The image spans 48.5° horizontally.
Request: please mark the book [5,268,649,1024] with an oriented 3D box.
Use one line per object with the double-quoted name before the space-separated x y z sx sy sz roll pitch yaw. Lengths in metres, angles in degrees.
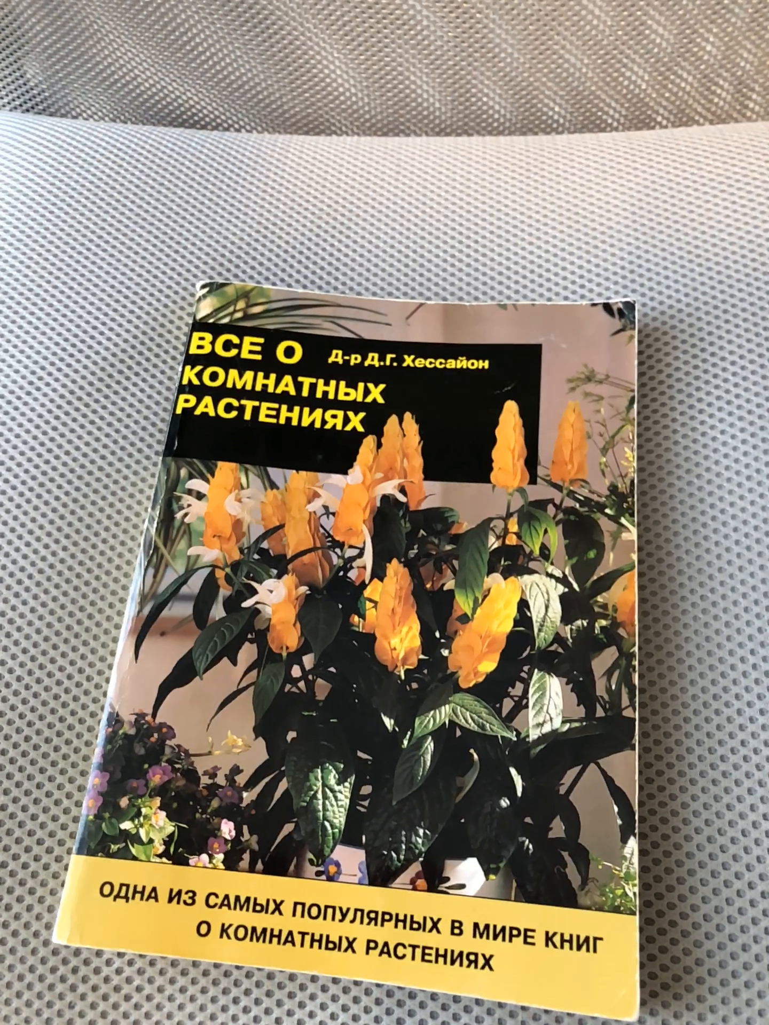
"book" -0.006 0.026 0.281 0.170 0.030 0.231 4 67 5
